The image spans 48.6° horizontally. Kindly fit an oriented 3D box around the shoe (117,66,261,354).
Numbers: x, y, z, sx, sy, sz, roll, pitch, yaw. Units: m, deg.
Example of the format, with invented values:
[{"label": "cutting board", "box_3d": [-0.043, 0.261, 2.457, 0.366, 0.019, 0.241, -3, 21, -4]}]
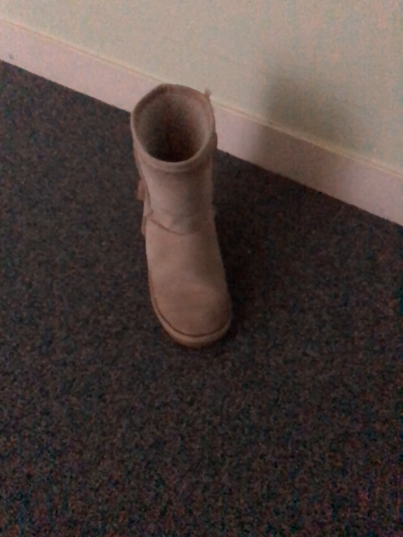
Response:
[{"label": "shoe", "box_3d": [-0.024, -0.067, 0.549, 0.120, 0.209, 0.271, -6, 60, -3]}]
